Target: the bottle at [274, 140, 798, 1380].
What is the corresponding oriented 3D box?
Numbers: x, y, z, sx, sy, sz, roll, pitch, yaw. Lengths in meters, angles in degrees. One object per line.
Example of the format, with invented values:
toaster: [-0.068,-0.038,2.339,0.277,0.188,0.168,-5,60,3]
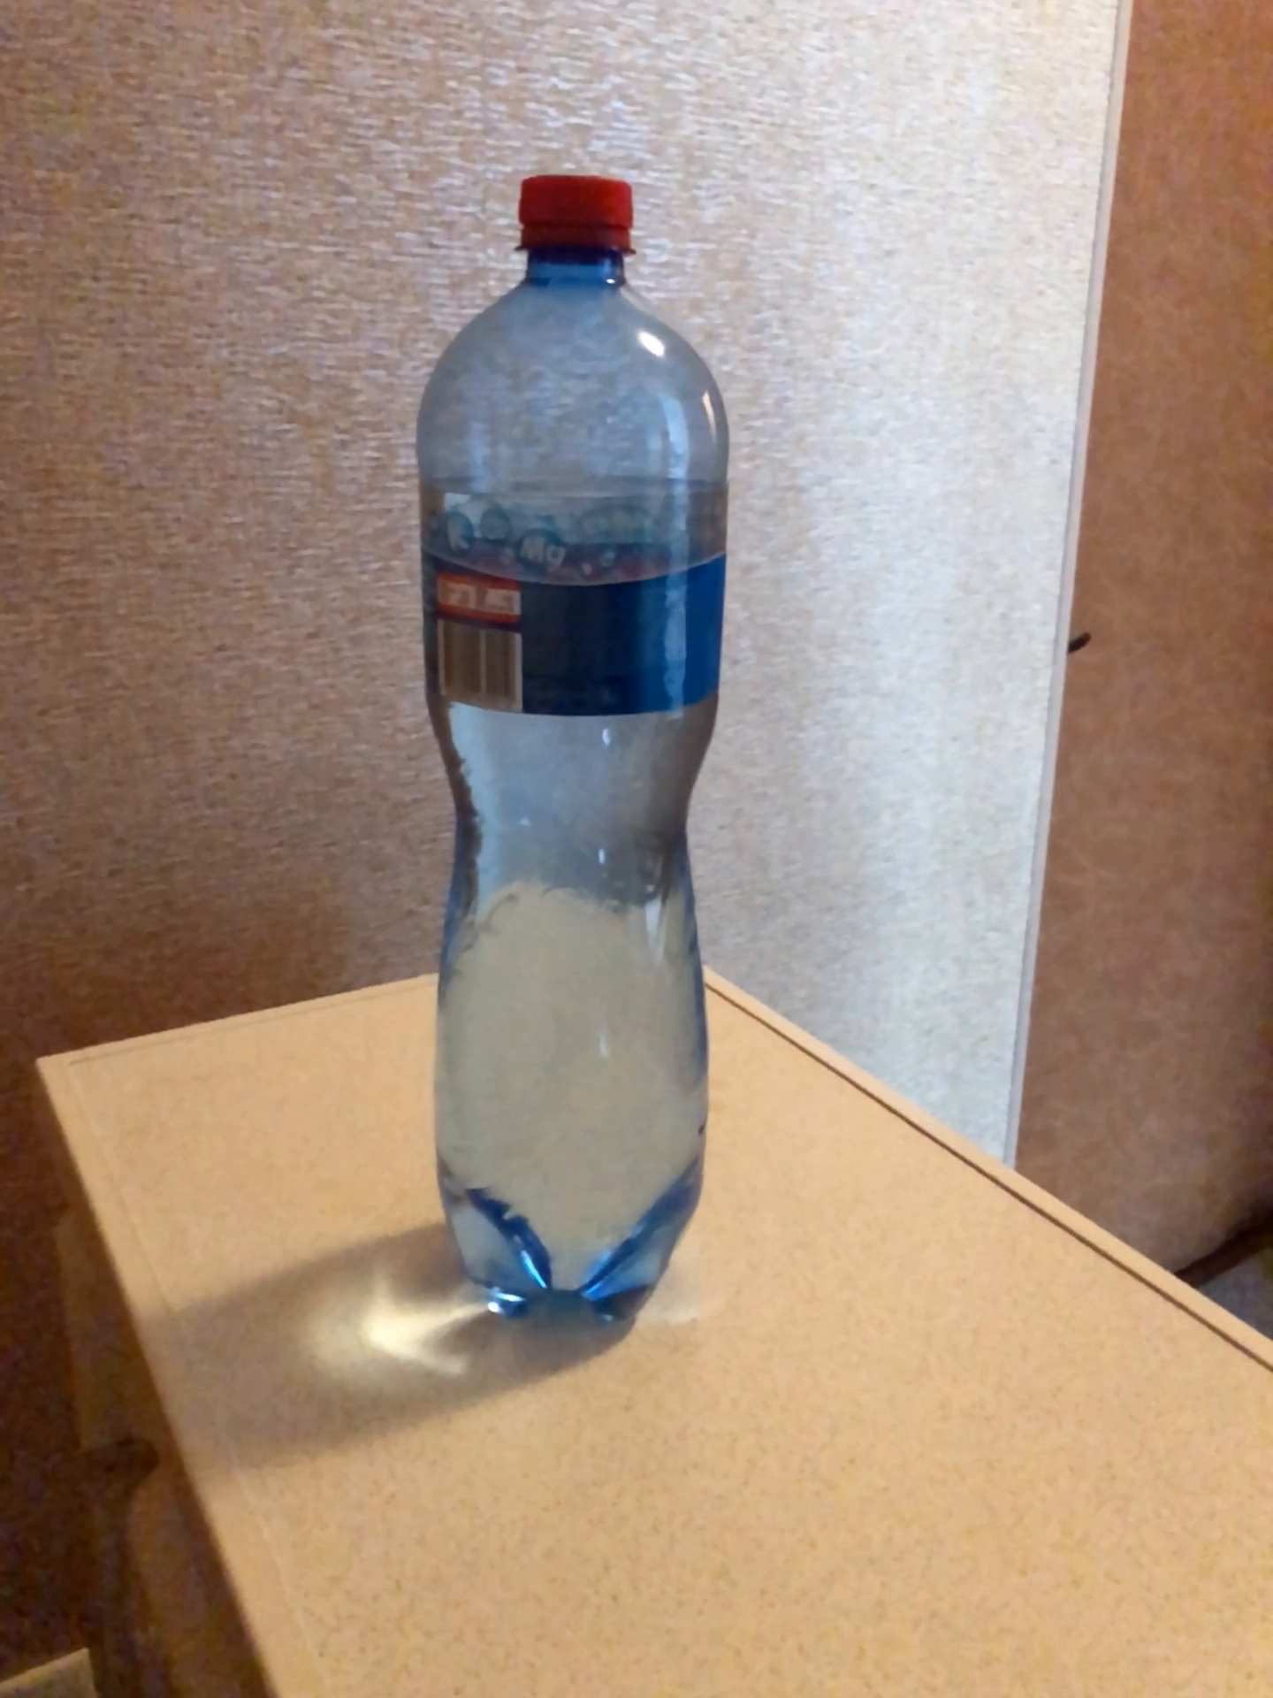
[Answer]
bottle: [-0.024,-0.022,0.413,0.100,0.318,0.100,0,17,0]
